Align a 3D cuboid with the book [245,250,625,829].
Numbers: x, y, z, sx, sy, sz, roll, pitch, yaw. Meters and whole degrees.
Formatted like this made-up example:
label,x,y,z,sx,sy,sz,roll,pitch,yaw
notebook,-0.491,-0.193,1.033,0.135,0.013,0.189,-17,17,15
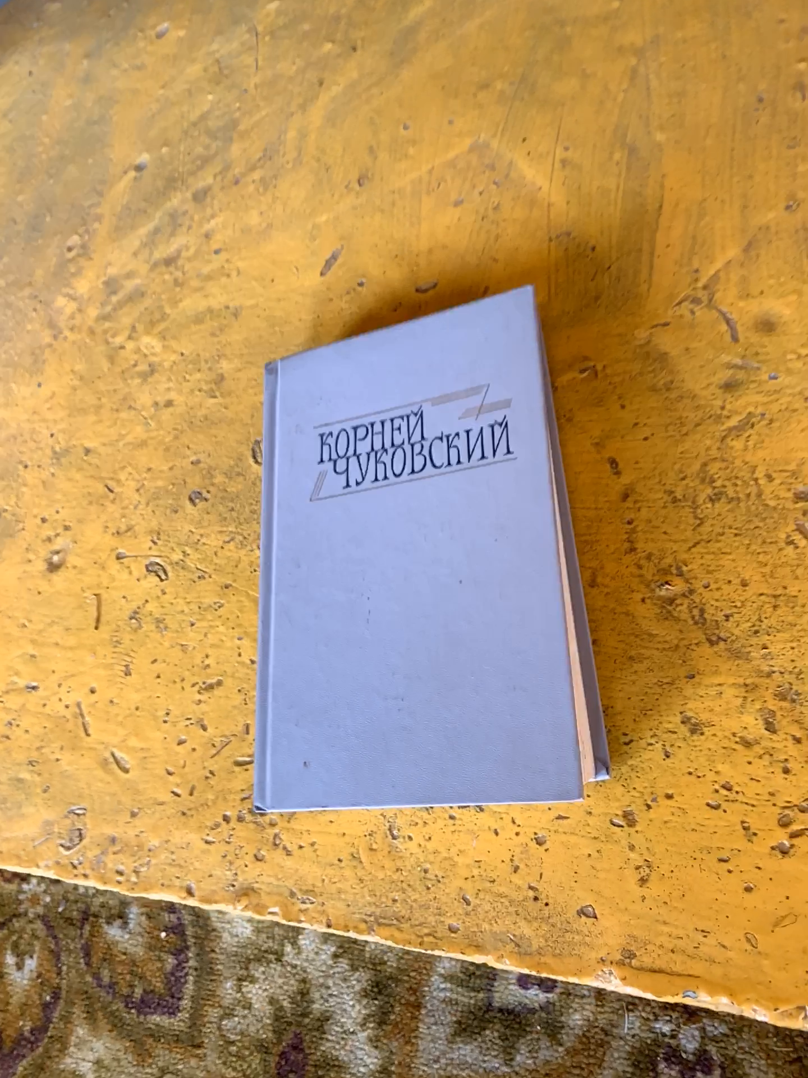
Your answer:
label,x,y,z,sx,sy,sz,roll,pitch,yaw
book,0.004,0.002,0.342,0.139,0.031,0.216,-11,69,24
